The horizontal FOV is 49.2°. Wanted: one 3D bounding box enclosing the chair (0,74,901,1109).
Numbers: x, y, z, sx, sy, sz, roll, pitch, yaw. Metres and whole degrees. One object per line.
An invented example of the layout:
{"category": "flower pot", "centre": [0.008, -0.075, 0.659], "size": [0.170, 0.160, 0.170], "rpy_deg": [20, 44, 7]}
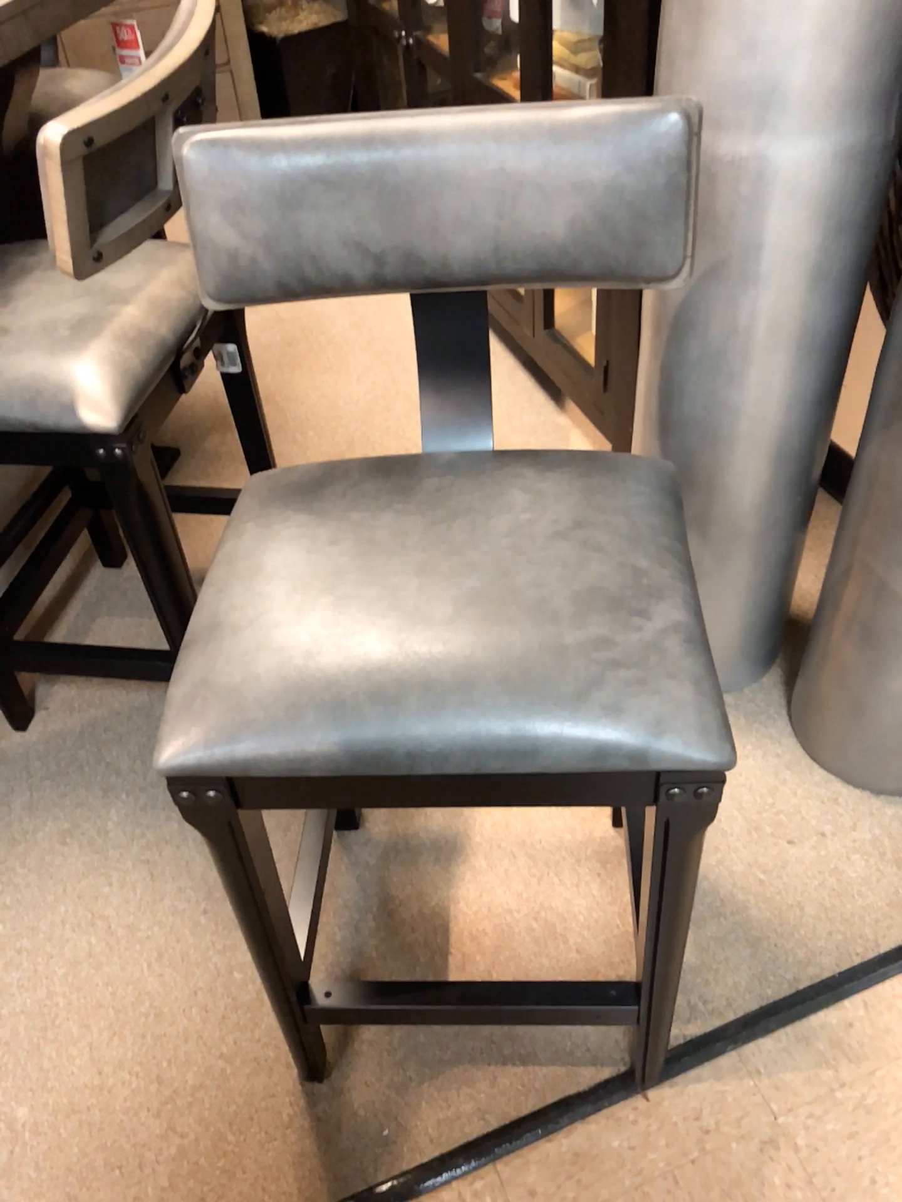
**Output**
{"category": "chair", "centre": [0.018, 0.066, 0.914], "size": [0.440, 0.864, 0.463], "rpy_deg": [-2, 44, 3]}
